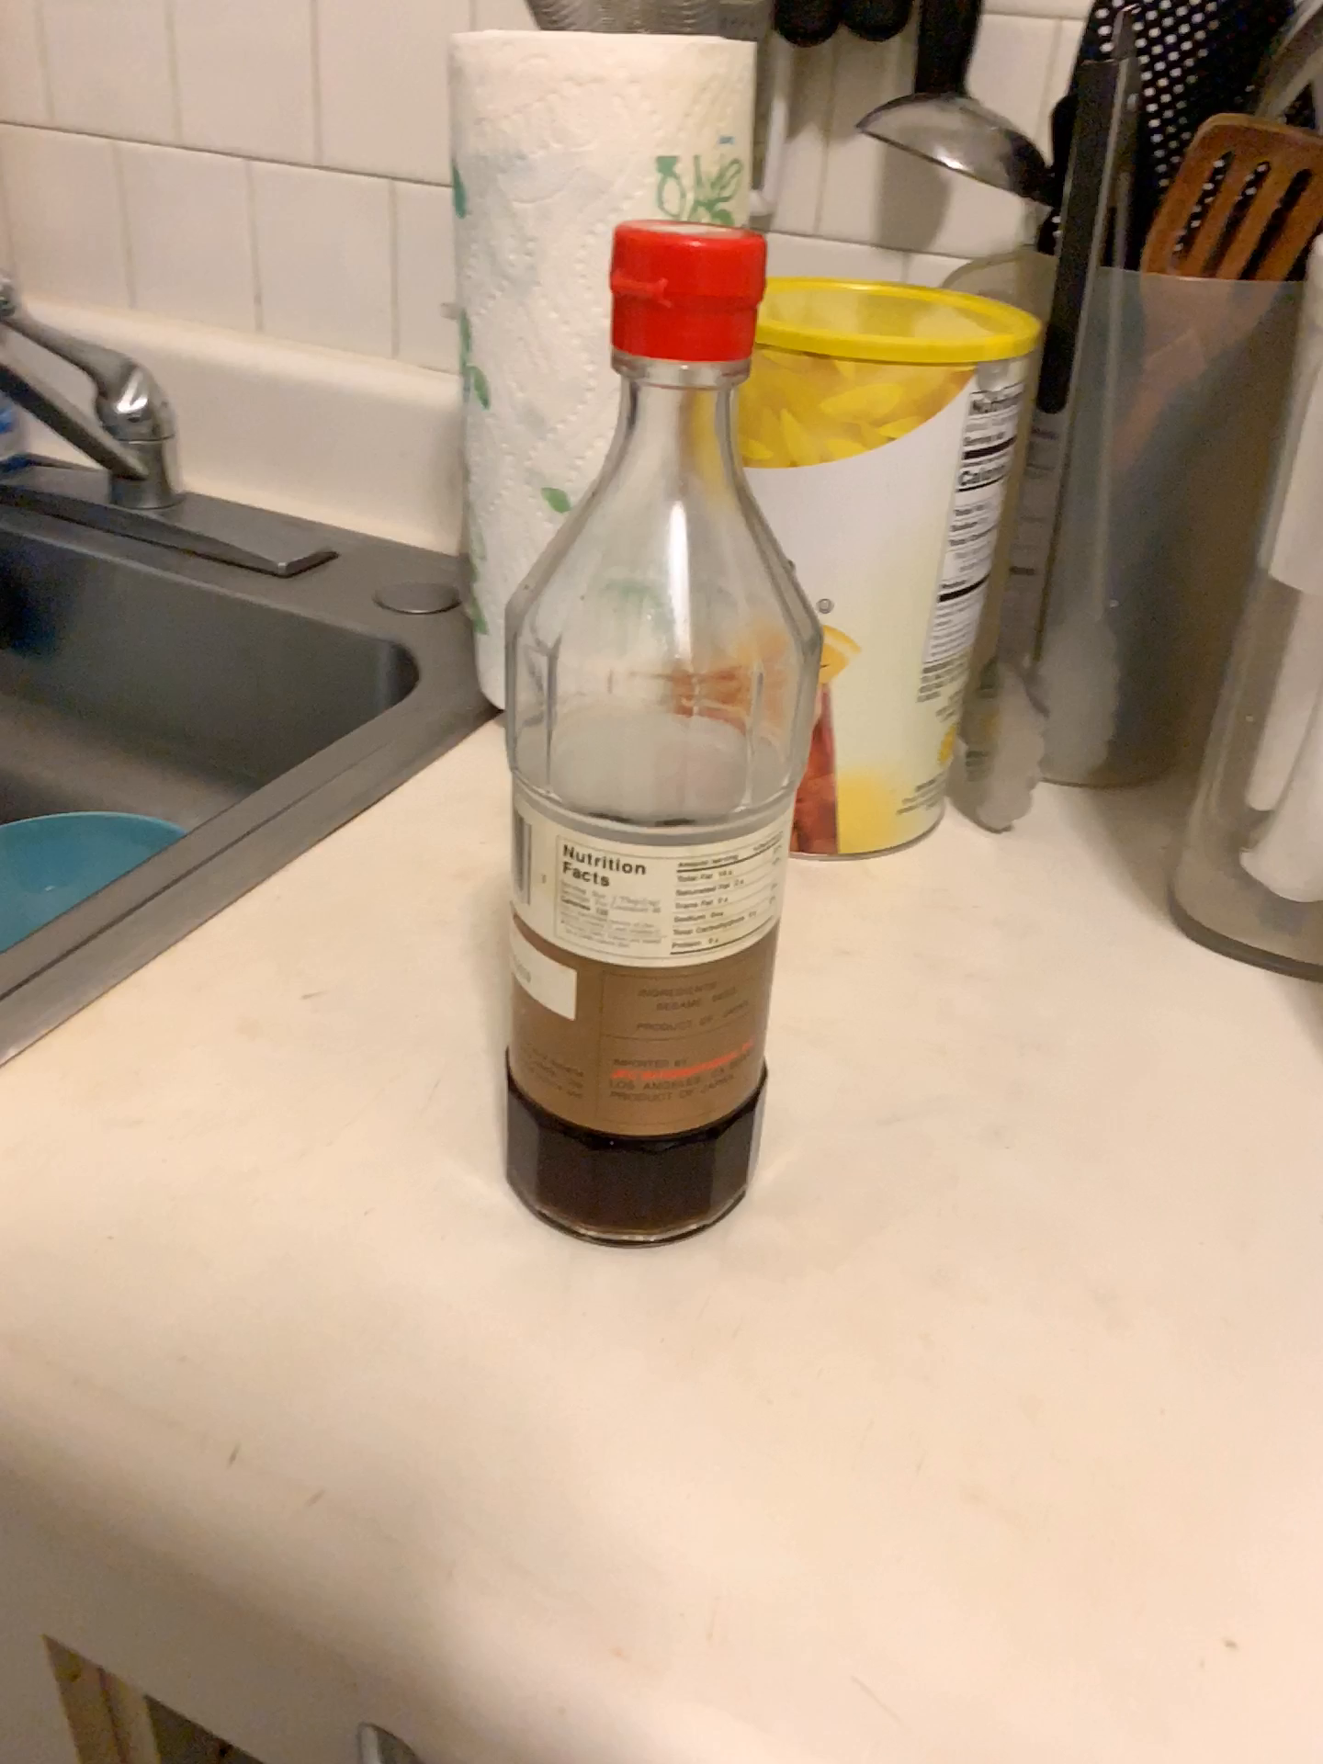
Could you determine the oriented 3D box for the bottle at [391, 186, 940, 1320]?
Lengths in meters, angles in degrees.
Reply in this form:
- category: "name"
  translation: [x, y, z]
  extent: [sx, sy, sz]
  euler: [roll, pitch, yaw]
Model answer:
- category: "bottle"
  translation: [-0.004, -0.023, 0.344]
  extent: [0.090, 0.258, 0.090]
  euler: [4, 32, -2]
